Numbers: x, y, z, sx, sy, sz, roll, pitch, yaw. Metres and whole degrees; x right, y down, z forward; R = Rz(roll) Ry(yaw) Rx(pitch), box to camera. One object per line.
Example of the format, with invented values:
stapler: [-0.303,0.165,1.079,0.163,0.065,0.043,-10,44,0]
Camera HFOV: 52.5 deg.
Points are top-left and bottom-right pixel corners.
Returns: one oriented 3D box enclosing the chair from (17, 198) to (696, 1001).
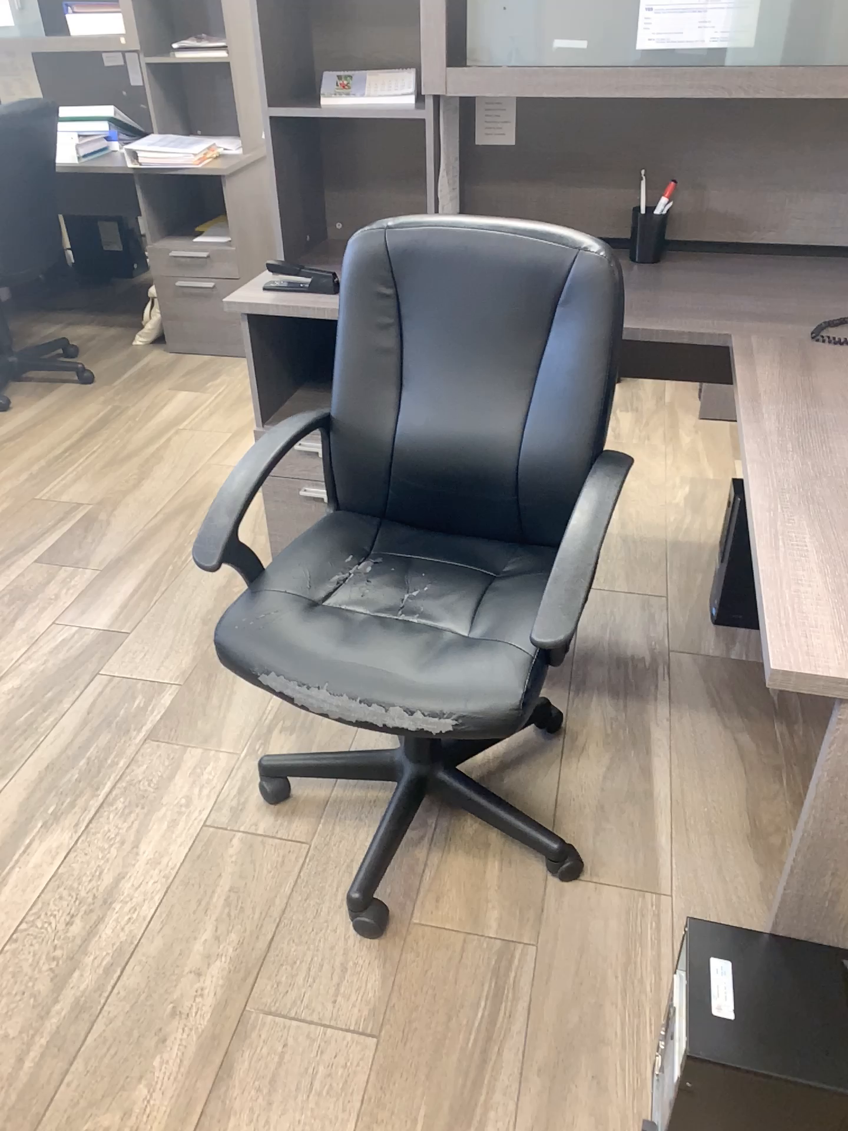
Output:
chair: [-0.010,0.014,1.331,0.650,0.945,0.643,10,35,16]
